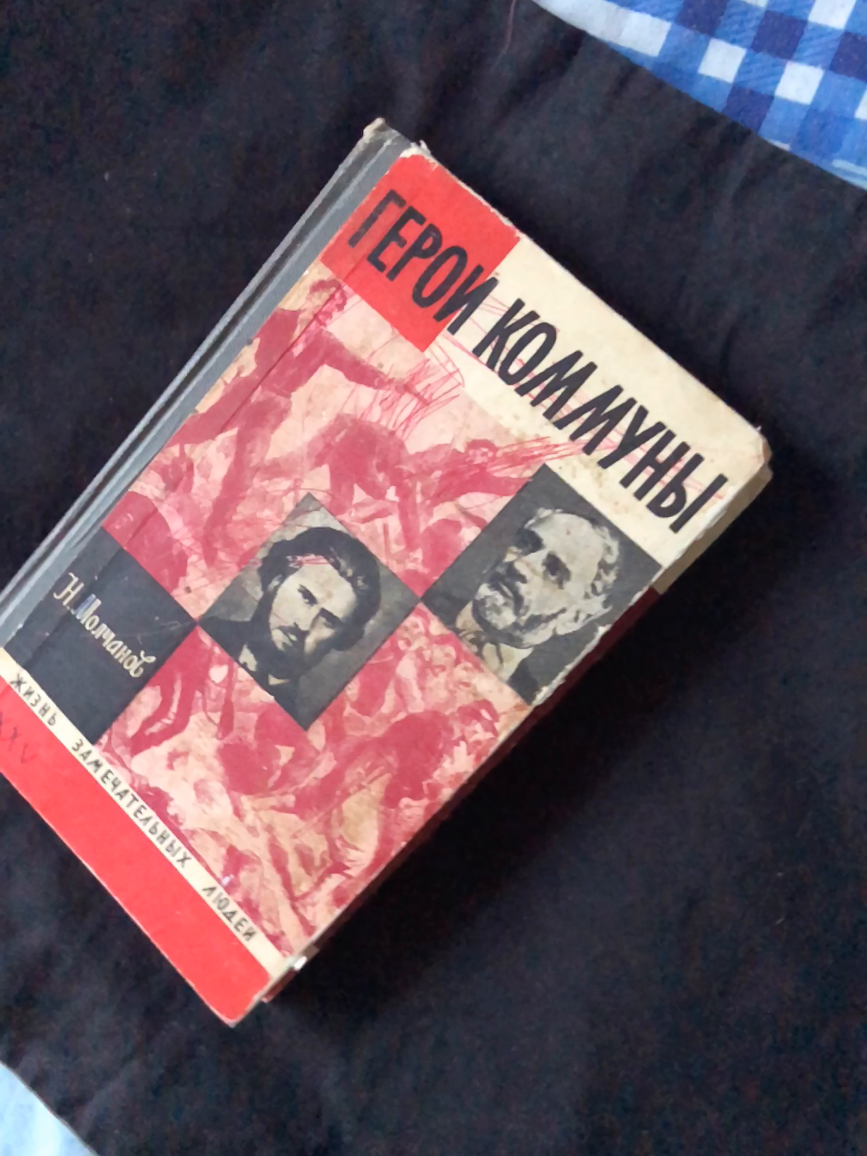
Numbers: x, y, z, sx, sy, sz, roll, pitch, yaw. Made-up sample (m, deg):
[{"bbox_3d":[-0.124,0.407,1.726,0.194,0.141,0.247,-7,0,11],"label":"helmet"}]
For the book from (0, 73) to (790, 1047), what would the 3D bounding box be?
[{"bbox_3d":[-0.028,-0.002,0.262,0.127,0.060,0.200,43,100,12],"label":"book"}]
